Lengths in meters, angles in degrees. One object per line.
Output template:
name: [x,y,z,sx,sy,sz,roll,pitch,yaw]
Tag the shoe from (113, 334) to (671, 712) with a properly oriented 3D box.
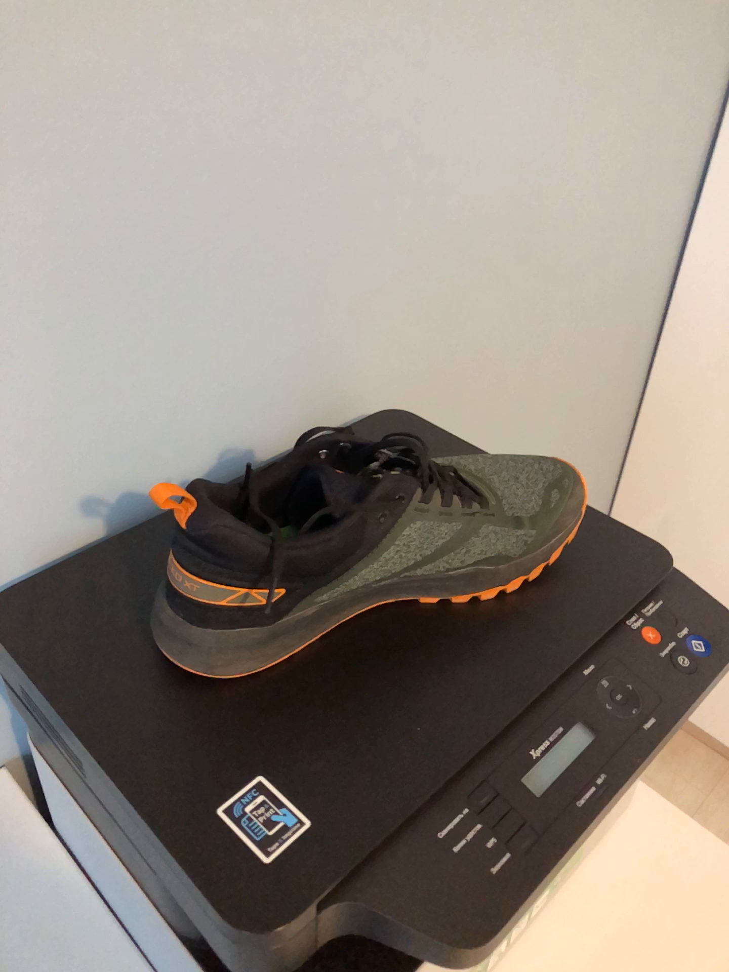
shoe: [0.020,0.007,0.506,0.311,0.119,0.121,-14,39,-23]
